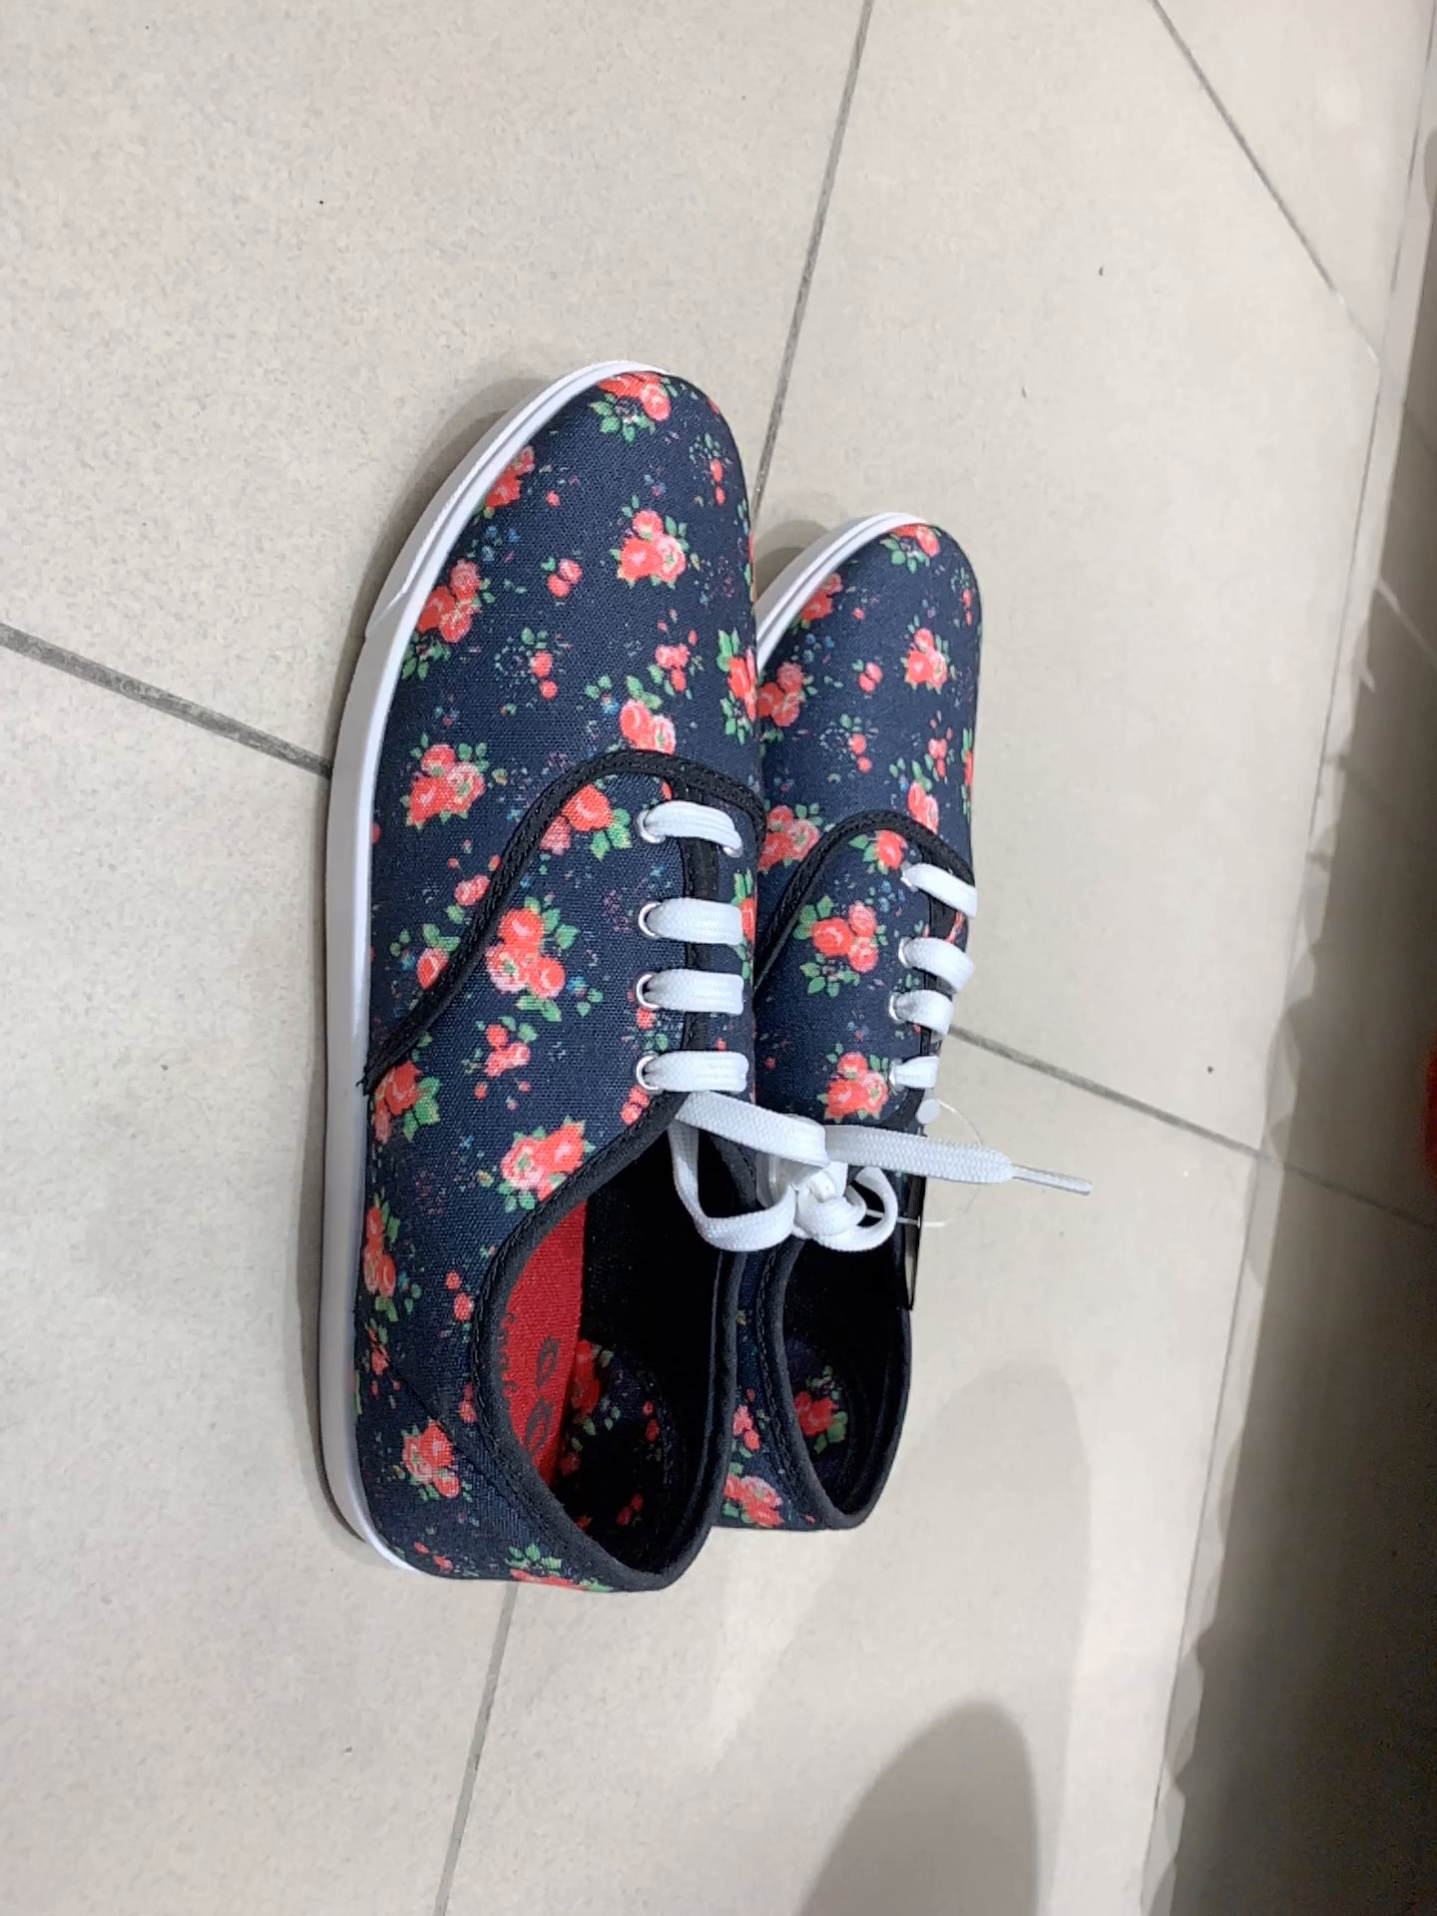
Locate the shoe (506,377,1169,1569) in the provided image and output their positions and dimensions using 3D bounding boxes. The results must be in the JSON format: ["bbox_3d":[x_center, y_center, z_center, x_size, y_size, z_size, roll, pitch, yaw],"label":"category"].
[{"bbox_3d":[0.037,0.006,0.389,0.101,0.080,0.270,20,78,-46],"label":"shoe"}]

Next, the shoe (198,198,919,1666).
[{"bbox_3d":[-0.032,-0.004,0.334,0.101,0.080,0.270,10,86,-47],"label":"shoe"}]
